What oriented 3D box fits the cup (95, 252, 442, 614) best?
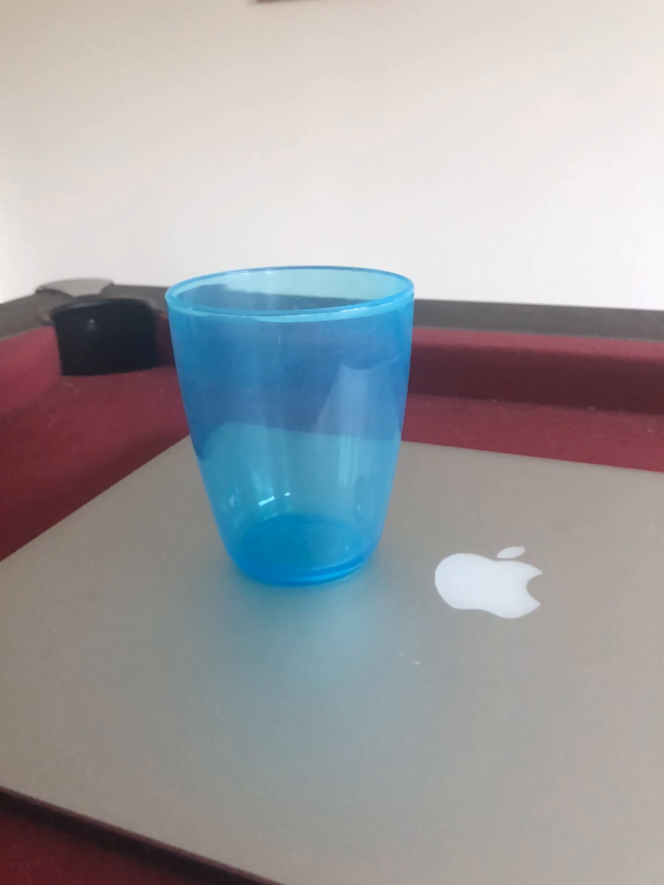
[{"bbox_3d":[-0.015,-0.011,0.266,0.090,0.100,0.080,7,23,22],"label":"cup"}]
